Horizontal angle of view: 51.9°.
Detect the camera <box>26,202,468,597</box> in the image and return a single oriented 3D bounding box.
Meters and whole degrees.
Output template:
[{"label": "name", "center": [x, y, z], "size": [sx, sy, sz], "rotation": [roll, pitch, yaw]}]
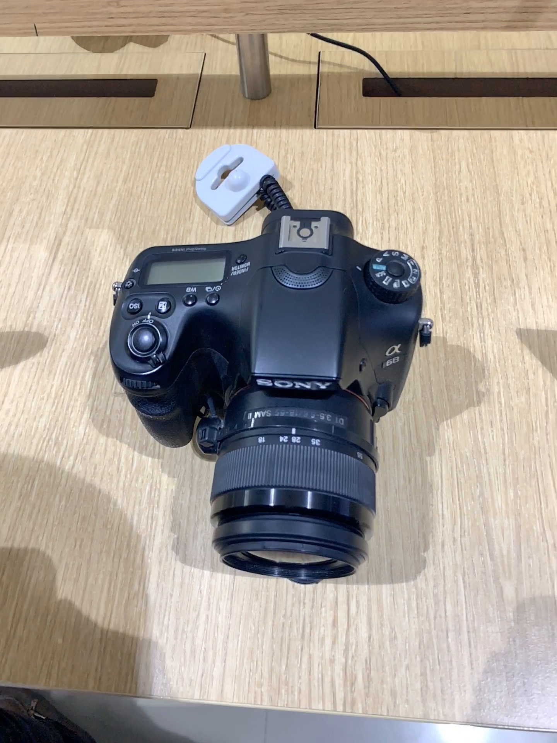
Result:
[{"label": "camera", "center": [-0.005, 0.015, 0.243], "size": [0.130, 0.100, 0.134], "rotation": [1, 62, 4]}]
